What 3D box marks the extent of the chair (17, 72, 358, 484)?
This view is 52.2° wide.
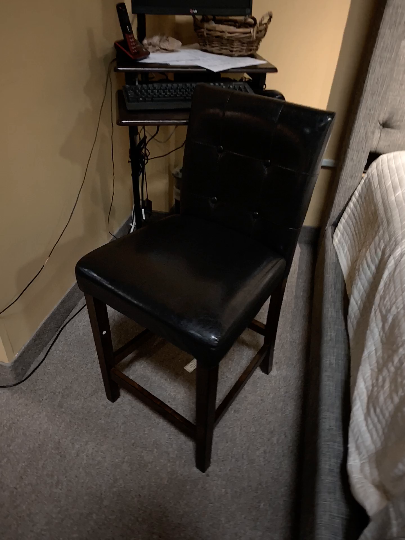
[{"bbox_3d":[-0.037,0.011,1.190,0.559,0.912,0.519,26,42,27],"label":"chair"}]
